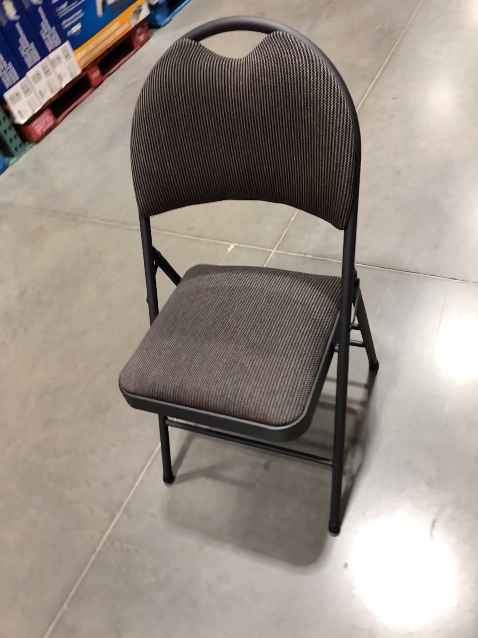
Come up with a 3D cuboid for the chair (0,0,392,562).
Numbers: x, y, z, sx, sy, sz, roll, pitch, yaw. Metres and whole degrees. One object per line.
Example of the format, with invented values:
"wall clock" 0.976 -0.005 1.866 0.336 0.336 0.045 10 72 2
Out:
"chair" -0.026 -0.018 1.034 0.521 0.866 0.561 7 53 23
